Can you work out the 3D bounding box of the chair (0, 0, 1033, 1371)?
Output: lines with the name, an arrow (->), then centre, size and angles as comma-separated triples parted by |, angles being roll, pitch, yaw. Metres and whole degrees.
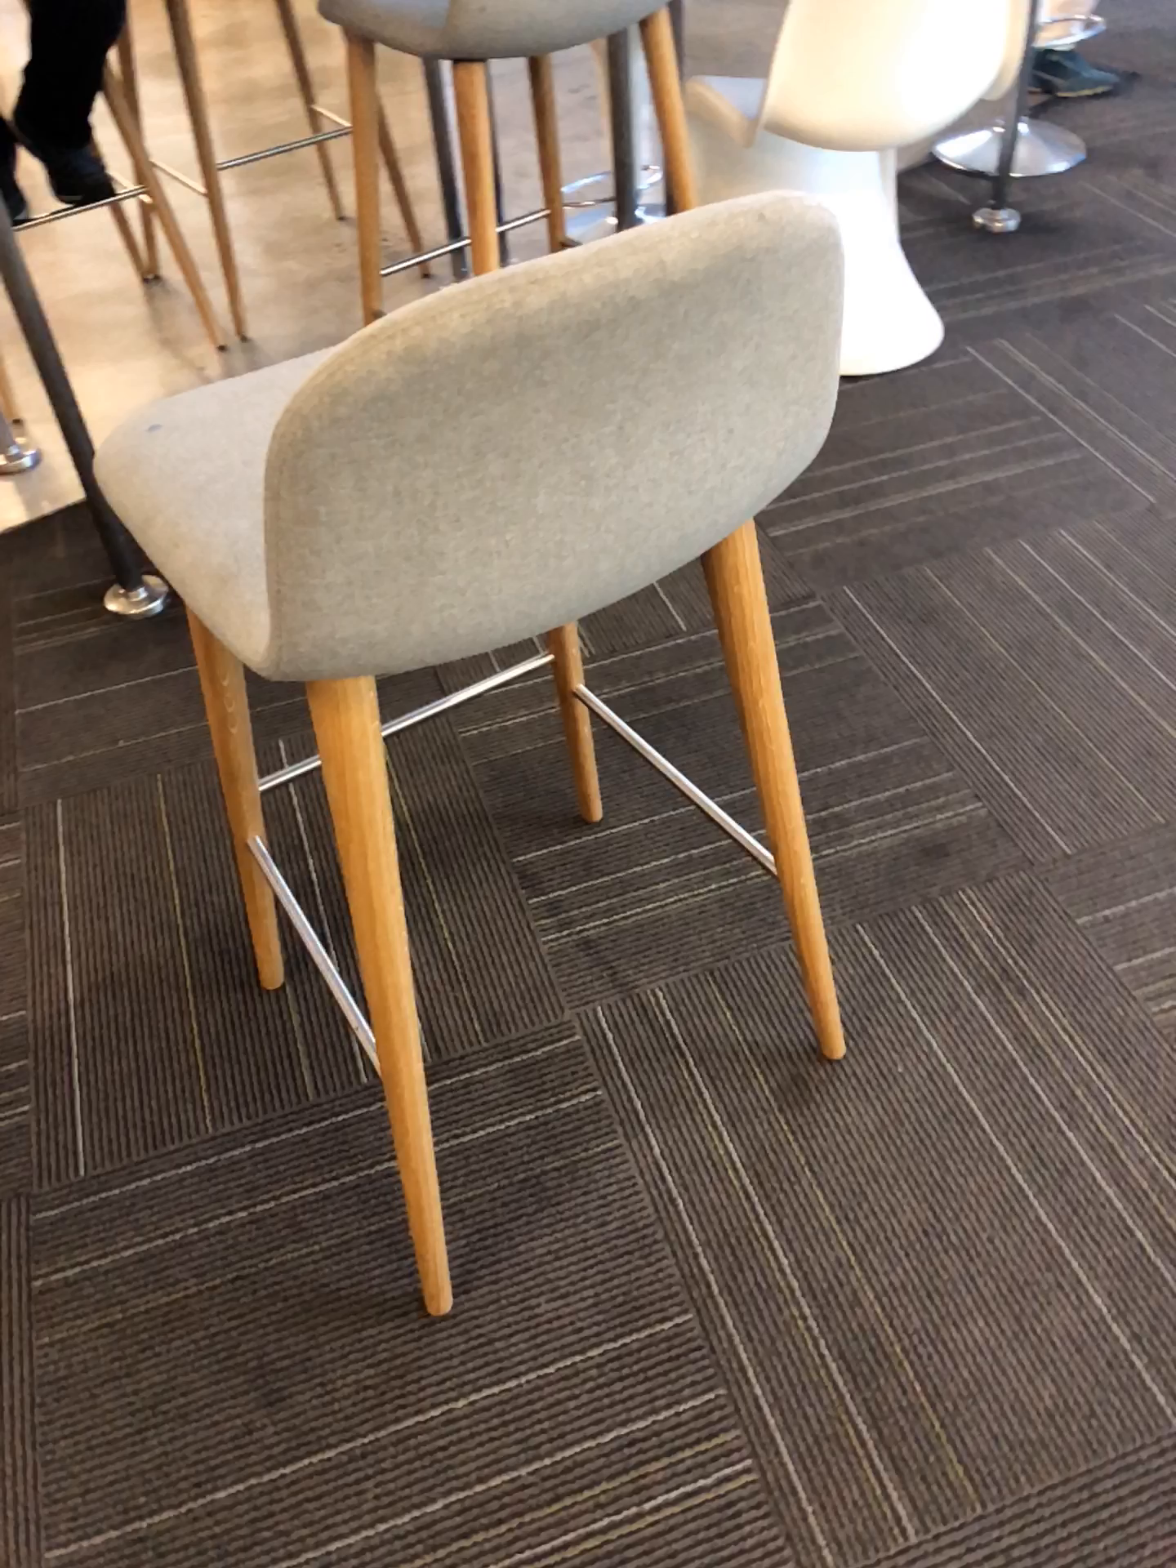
chair -> -0.115, -0.100, 1.110 | 0.570, 0.946, 0.562 | -27, 47, -22
